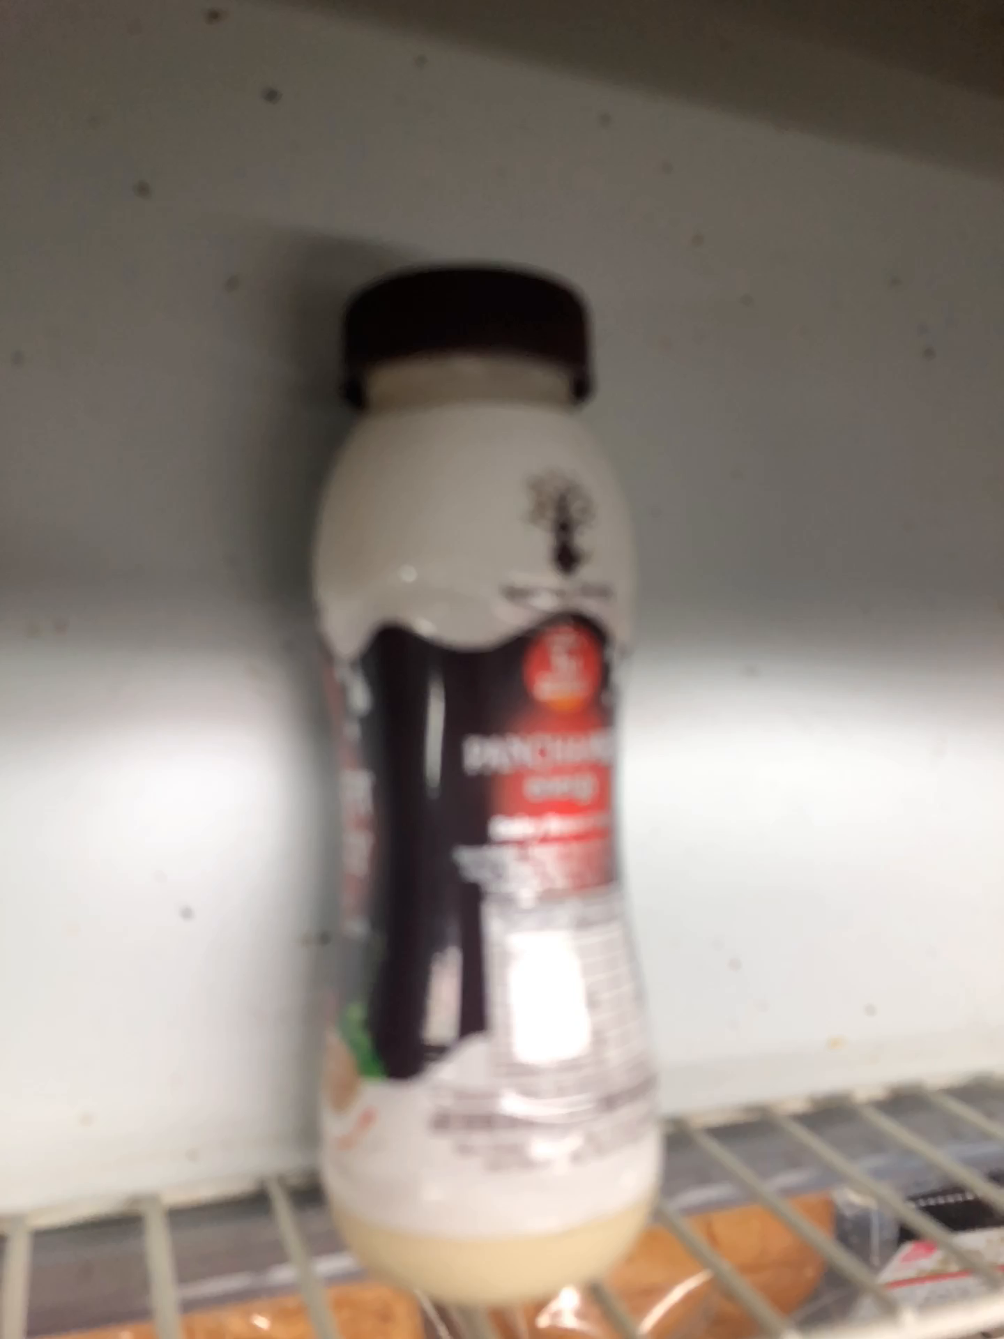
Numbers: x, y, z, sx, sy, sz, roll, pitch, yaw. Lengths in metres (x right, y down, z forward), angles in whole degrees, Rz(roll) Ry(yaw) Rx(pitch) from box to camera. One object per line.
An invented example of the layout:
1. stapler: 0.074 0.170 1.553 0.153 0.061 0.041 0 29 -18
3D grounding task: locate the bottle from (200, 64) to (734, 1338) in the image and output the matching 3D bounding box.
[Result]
1. bottle: -0.009 0.006 0.172 0.060 0.060 0.160 0 88 -30
